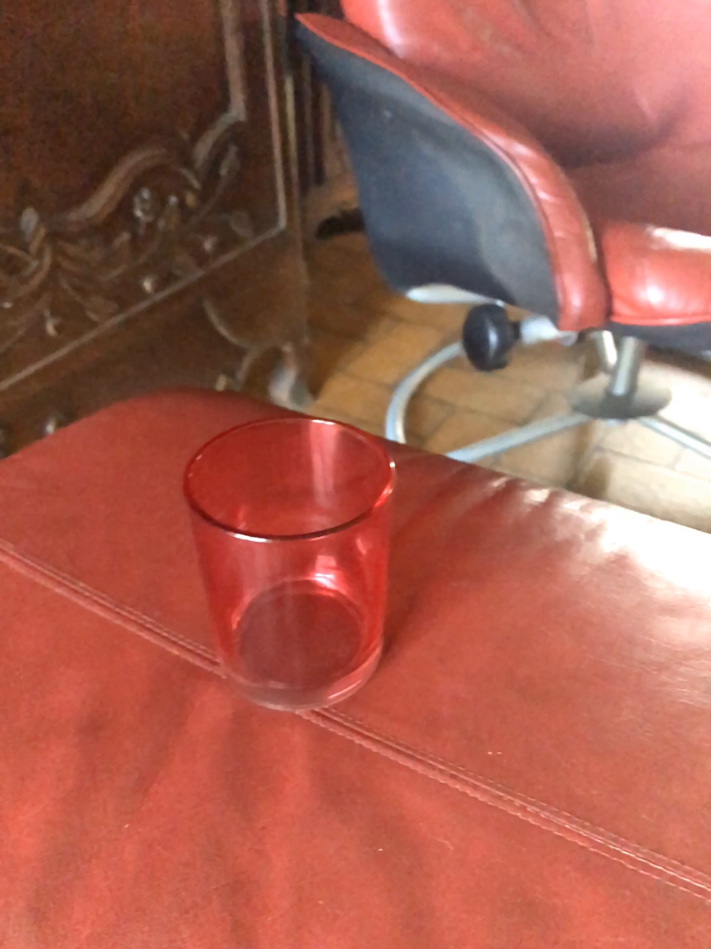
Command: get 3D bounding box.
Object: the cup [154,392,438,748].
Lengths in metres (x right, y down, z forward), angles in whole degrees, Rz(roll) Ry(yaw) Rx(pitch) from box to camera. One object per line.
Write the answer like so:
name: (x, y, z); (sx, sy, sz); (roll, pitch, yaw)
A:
cup: (-0.016, 0.032, 0.286); (0.070, 0.089, 0.071); (-1, 37, 0)
